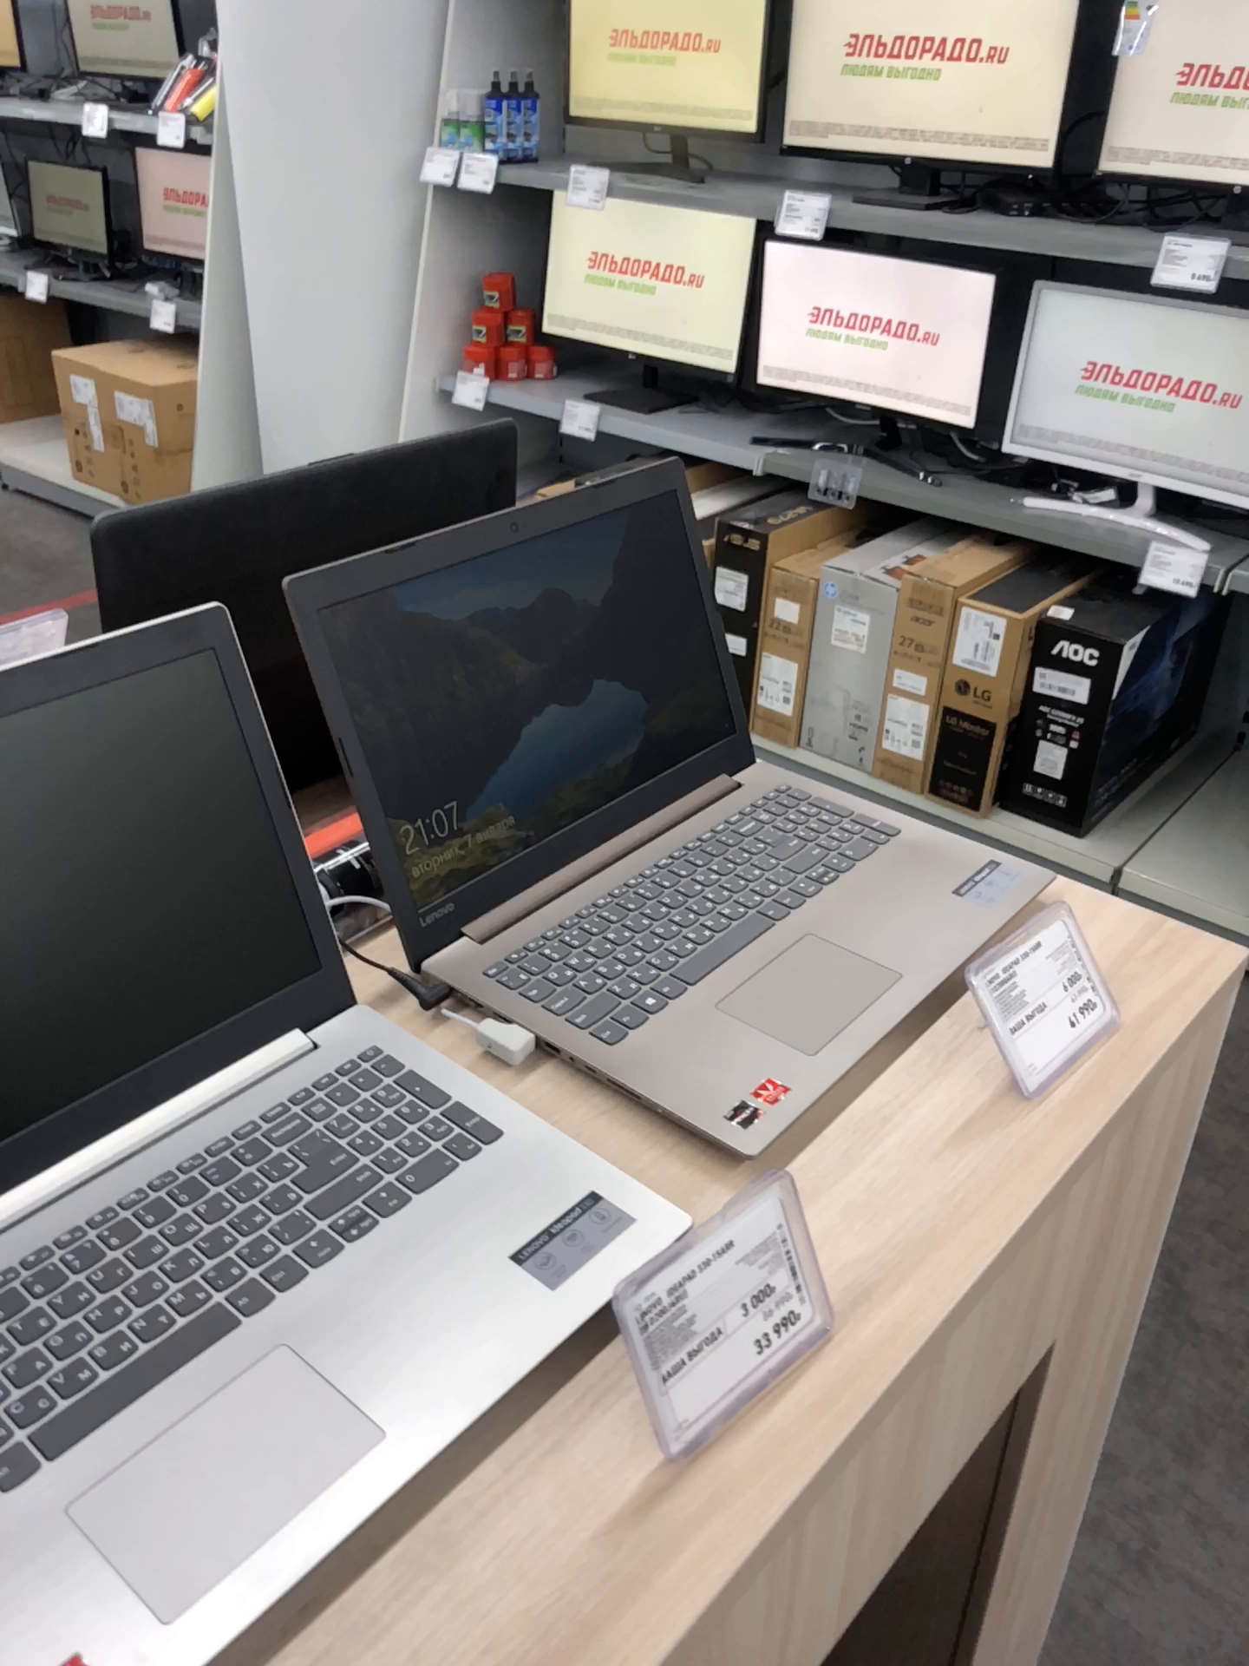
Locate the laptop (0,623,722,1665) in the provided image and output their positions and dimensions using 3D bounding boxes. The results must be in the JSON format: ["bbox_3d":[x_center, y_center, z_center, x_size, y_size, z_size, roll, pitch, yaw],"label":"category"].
[{"bbox_3d":[-0.202,0.094,0.563,0.323,0.207,0.344,23,35,32],"label":"laptop"}]

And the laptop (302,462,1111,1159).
[{"bbox_3d":[0.053,-0.053,0.845,0.329,0.209,0.352,24,37,32],"label":"laptop"}]
